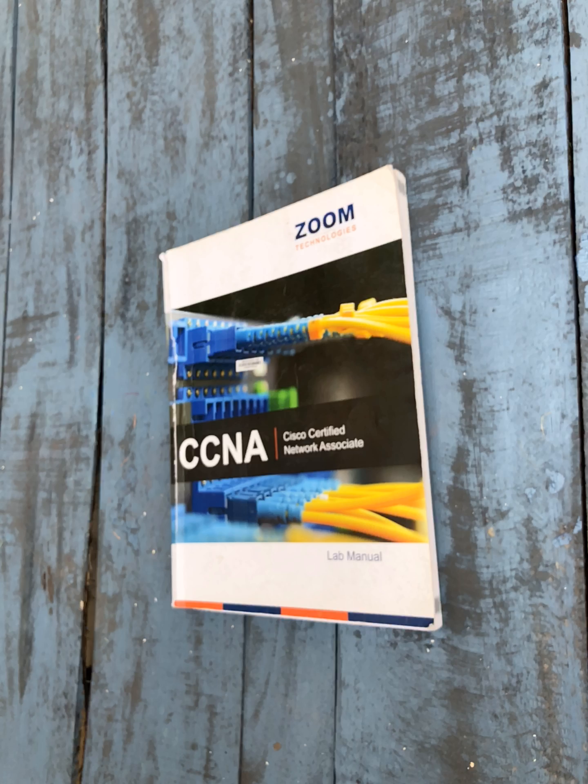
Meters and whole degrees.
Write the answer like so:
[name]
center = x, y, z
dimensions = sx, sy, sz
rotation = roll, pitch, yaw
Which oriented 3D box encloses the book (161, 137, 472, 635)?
[book]
center = -0.002, 0.004, 0.409
dimensions = 0.201, 0.030, 0.260
rotation = -10, 77, 36
